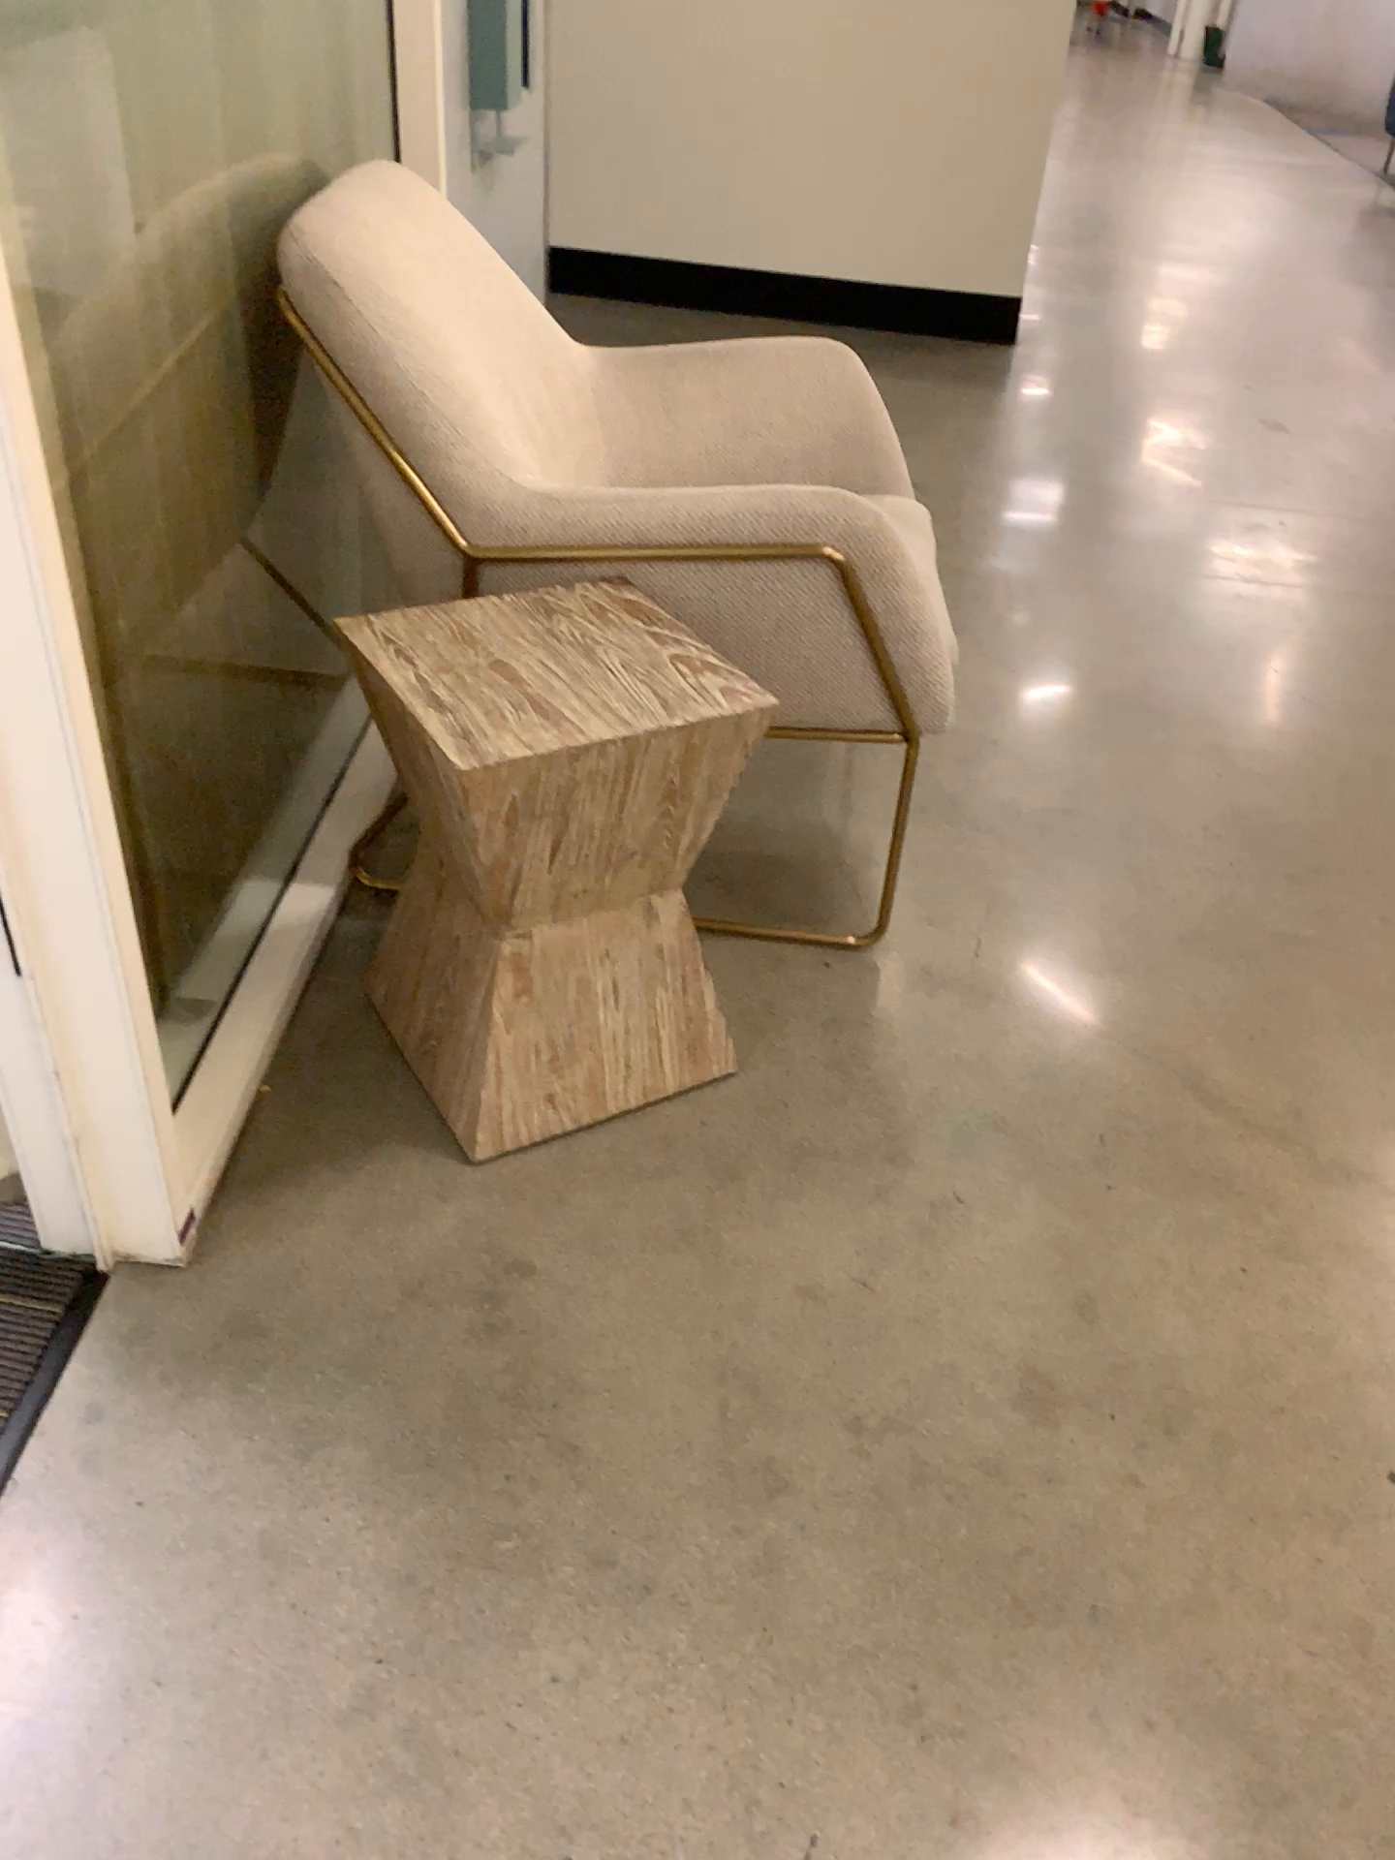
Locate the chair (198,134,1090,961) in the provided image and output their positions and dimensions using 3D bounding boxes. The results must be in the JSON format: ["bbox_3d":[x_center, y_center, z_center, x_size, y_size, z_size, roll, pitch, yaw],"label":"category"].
[{"bbox_3d":[-0.068,-0.542,1.940,0.880,0.815,0.755,4,35,-1],"label":"chair"}]
